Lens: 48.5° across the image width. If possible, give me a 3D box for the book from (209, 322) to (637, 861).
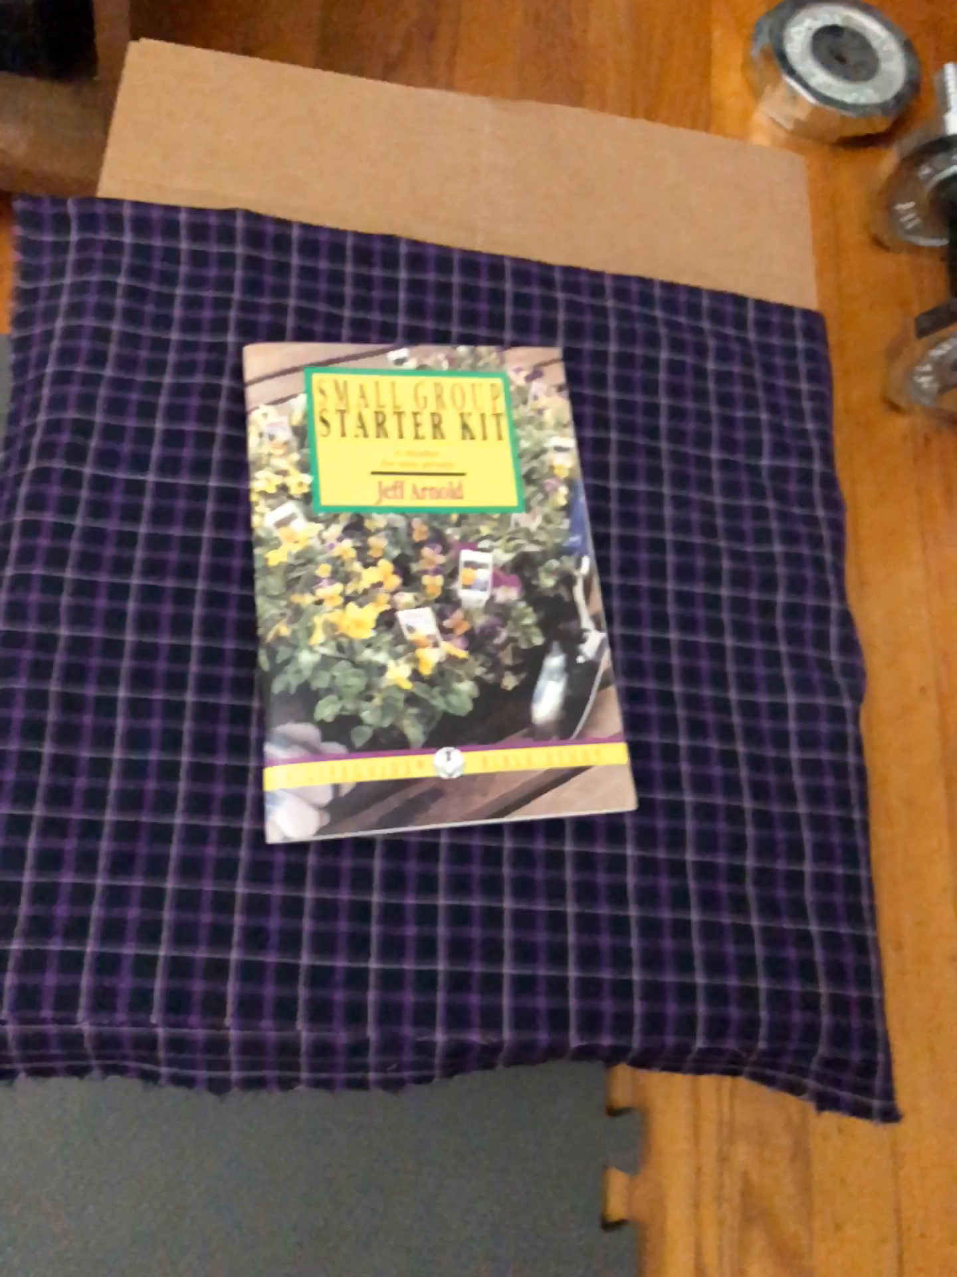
[{"bbox_3d":[-0.027,-0.030,0.425,0.150,0.010,0.220,-3,70,-12],"label":"book"}]
